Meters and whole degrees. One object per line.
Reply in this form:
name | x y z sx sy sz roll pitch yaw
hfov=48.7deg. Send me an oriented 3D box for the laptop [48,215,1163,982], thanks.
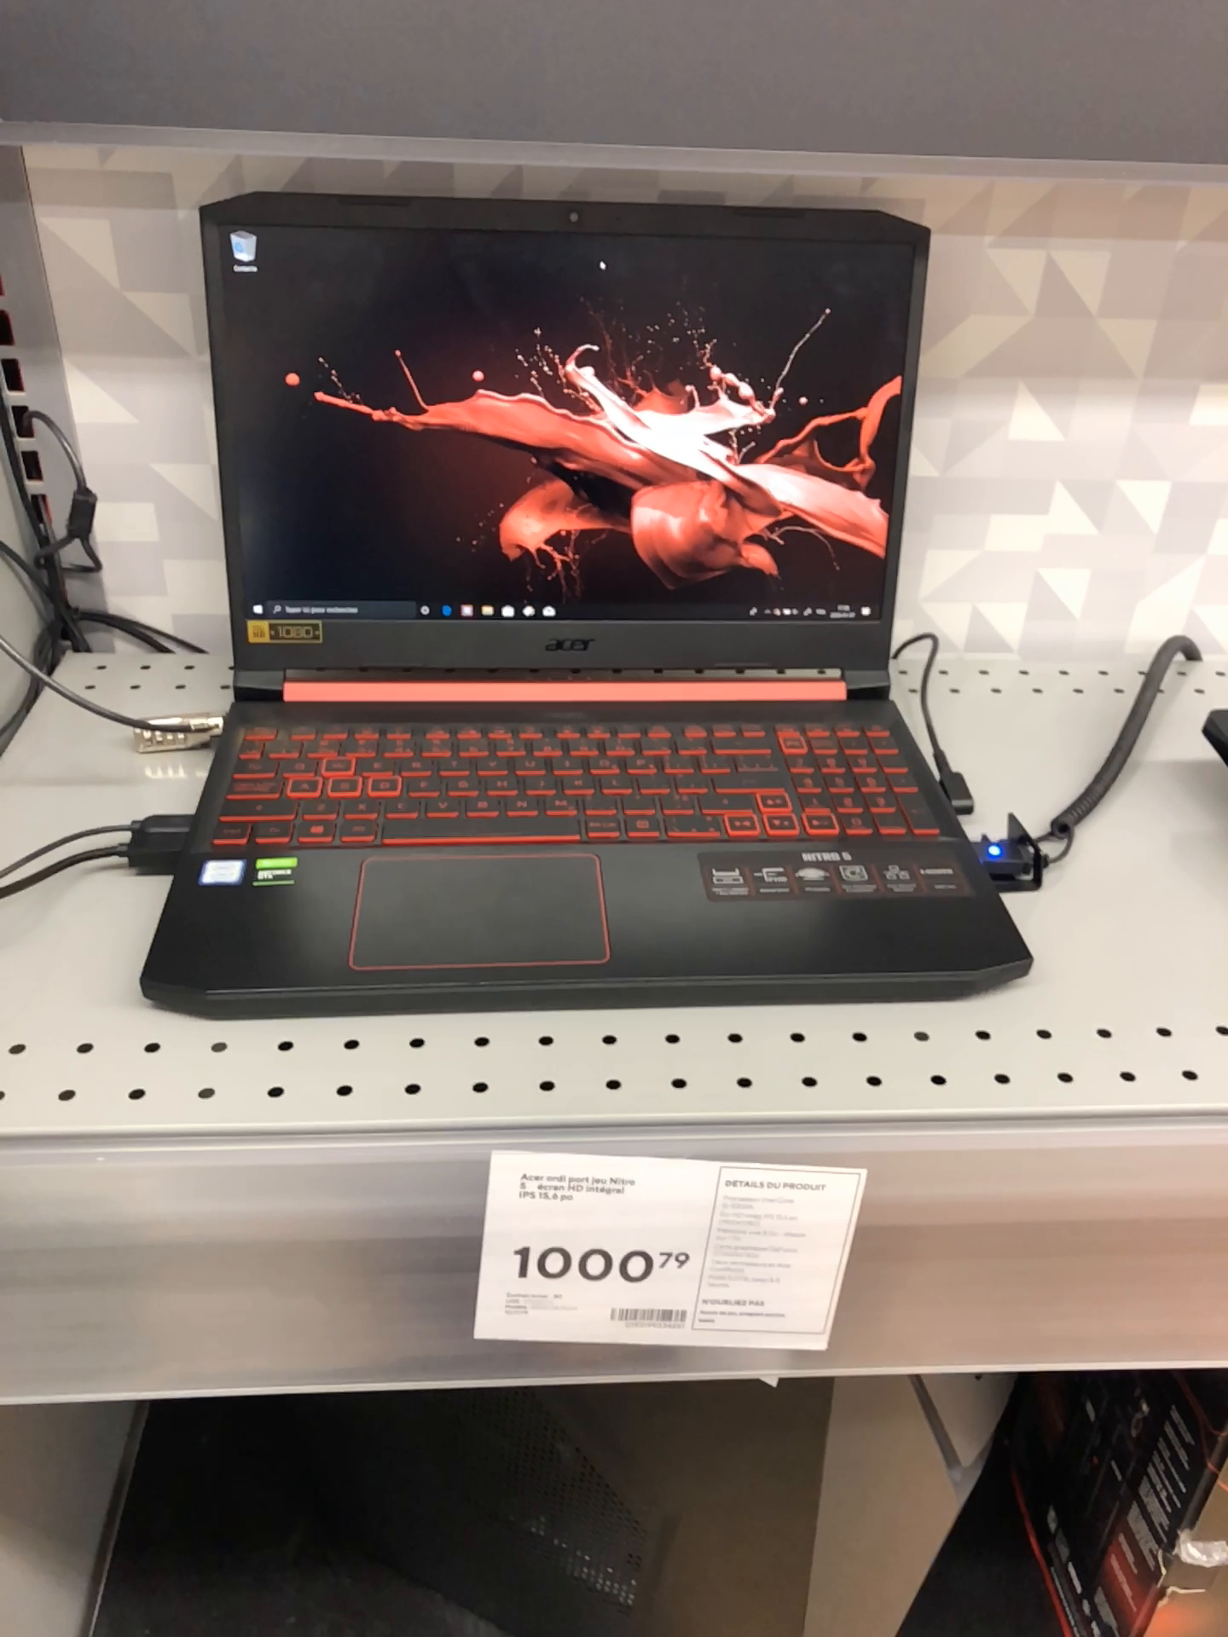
laptop | -0.010 -0.115 0.620 0.361 0.241 0.282 -1 33 -6
